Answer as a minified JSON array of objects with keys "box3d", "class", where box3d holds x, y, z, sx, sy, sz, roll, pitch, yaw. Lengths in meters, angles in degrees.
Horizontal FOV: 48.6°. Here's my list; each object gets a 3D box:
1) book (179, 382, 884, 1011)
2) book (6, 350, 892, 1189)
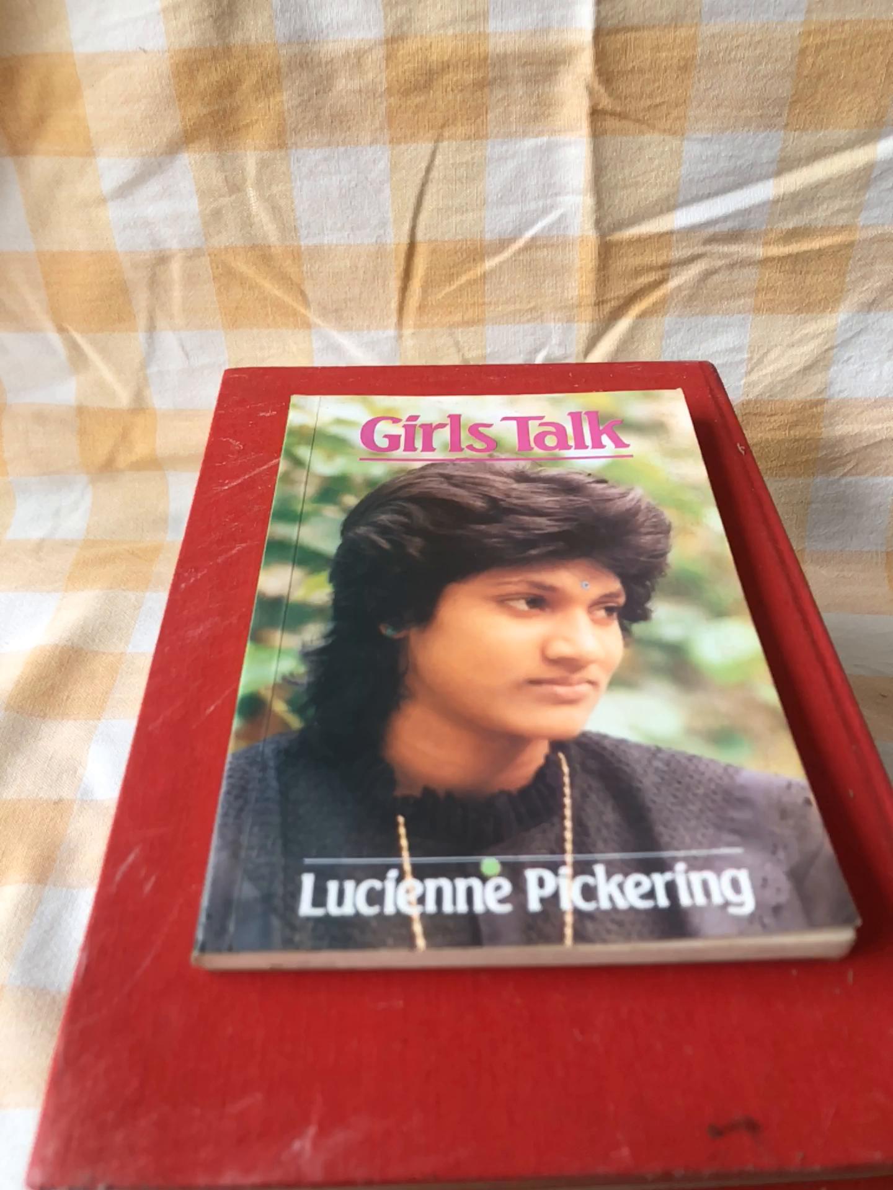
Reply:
[{"box3d":[0.014,0.008,0.255,0.130,0.025,0.183,-1,46,-1],"class":"book"},{"box3d":[0.013,0.016,0.259,0.174,0.031,0.250,-2,44,-1],"class":"book"}]
